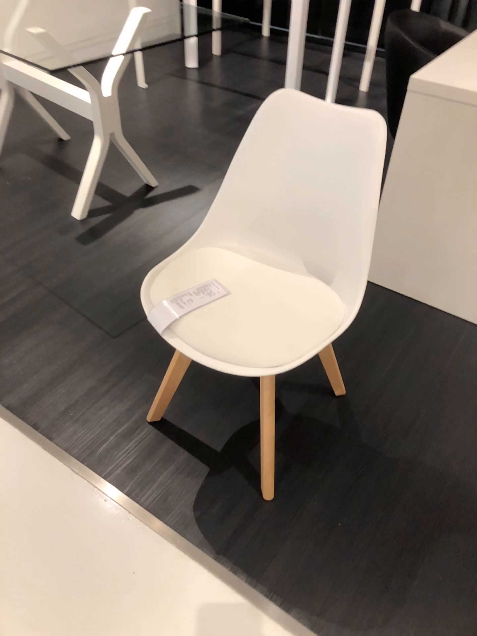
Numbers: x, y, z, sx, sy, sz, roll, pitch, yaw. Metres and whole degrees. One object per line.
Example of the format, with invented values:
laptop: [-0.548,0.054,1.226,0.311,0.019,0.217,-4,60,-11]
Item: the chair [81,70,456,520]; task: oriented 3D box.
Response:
chair: [0.063,-0.063,1.245,0.501,0.784,0.533,27,46,26]
